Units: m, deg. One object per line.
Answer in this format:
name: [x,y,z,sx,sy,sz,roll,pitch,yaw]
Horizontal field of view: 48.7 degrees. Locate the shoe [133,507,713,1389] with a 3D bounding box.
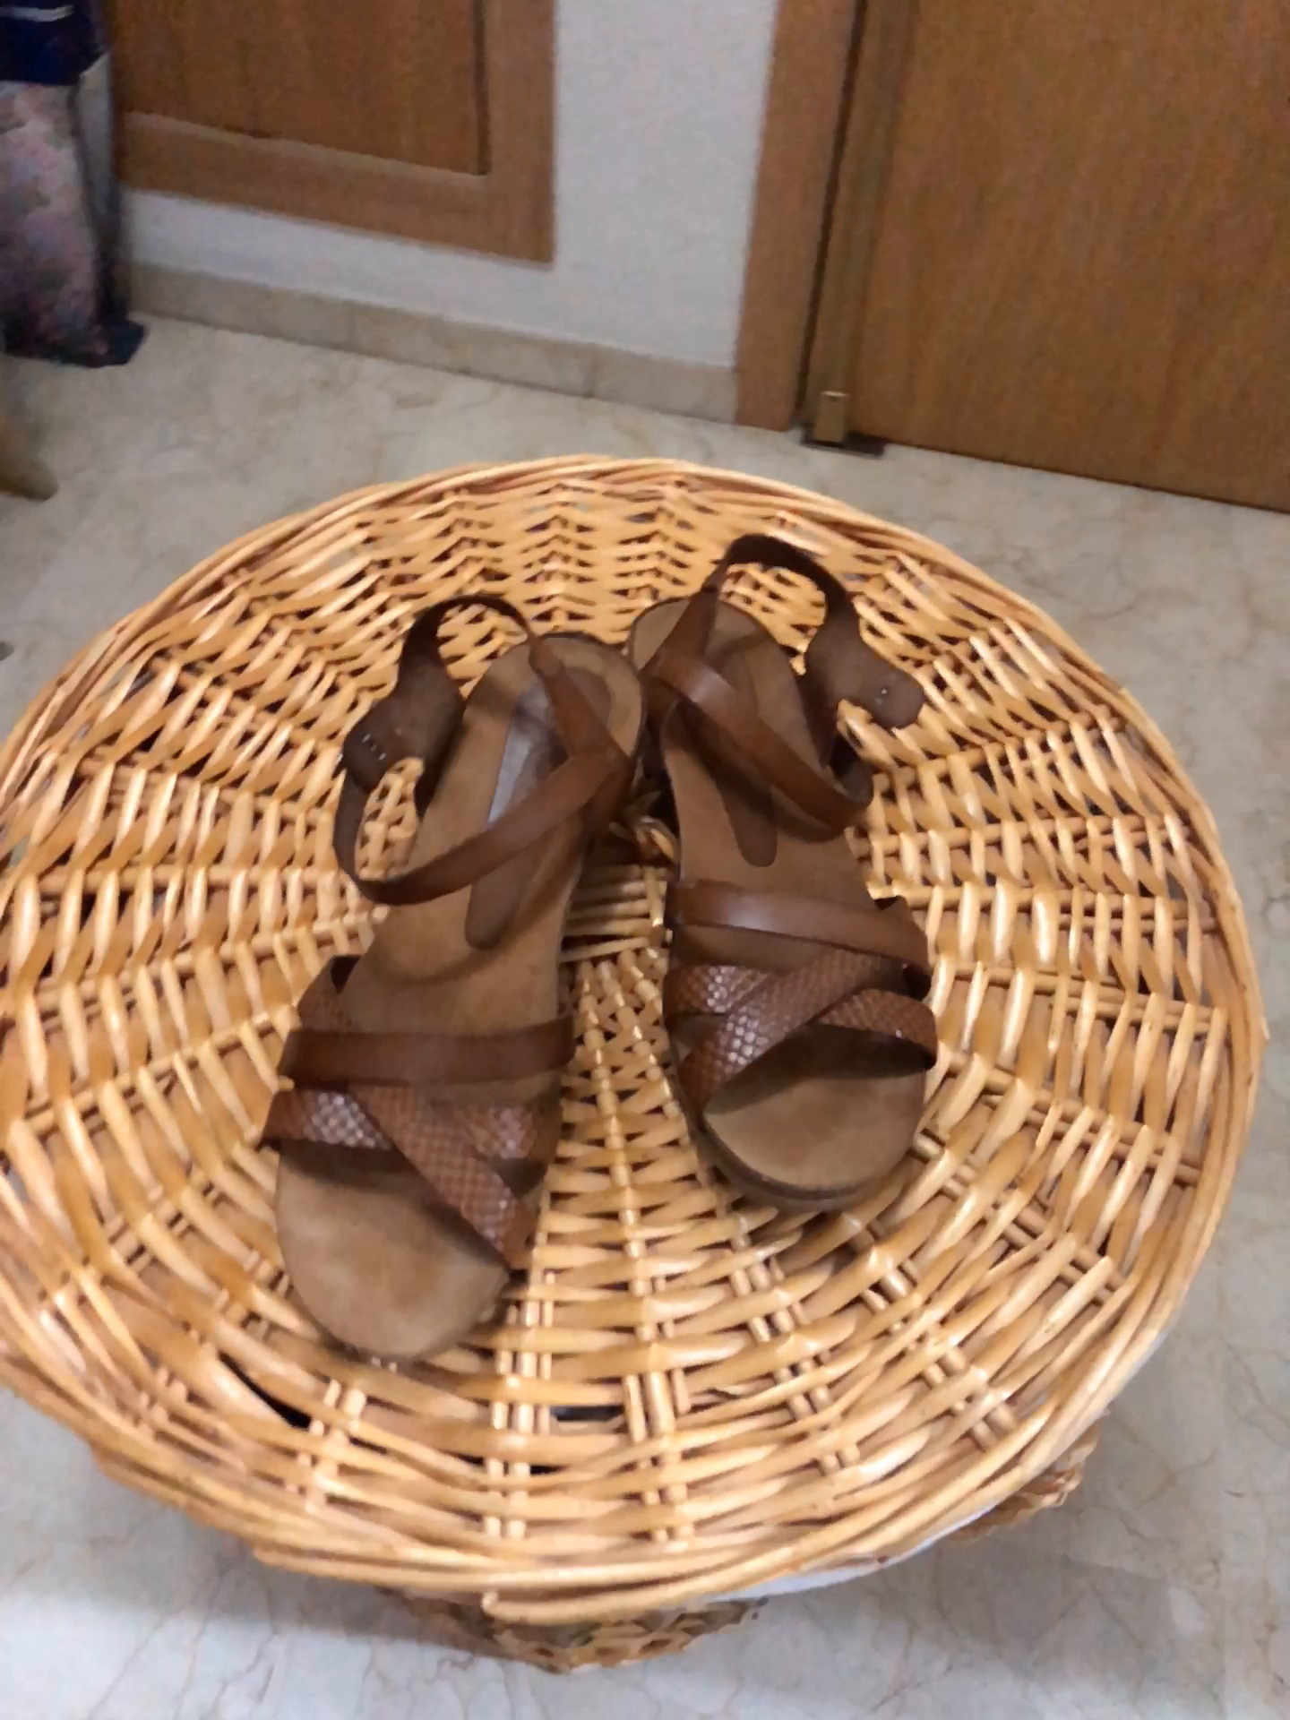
shoe: [-0.058,0.017,0.482,0.100,0.070,0.281,13,62,6]

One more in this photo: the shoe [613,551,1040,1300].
shoe: [0.050,0.006,0.513,0.100,0.060,0.281,-2,53,-6]
